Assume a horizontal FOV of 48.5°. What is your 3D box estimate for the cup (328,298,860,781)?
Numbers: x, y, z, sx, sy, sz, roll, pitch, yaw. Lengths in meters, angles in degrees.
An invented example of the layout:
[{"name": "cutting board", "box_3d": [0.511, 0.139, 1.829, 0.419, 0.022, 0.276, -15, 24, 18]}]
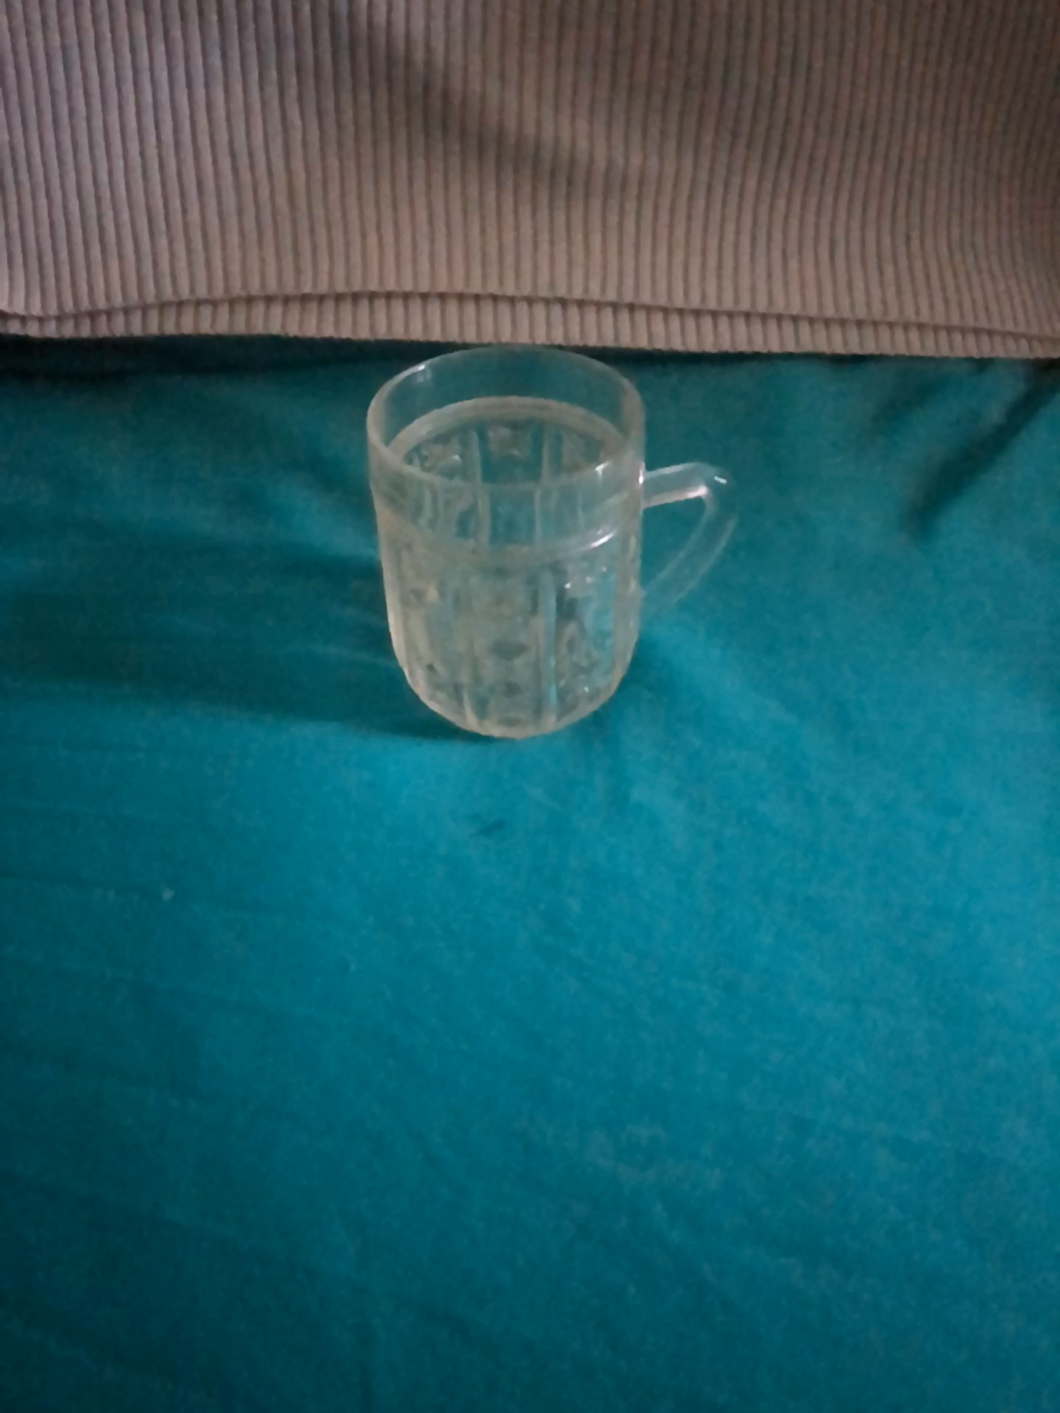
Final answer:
[{"name": "cup", "box_3d": [0.012, -0.043, 0.295, 0.104, 0.076, 0.064, -15, 50, -14]}]
